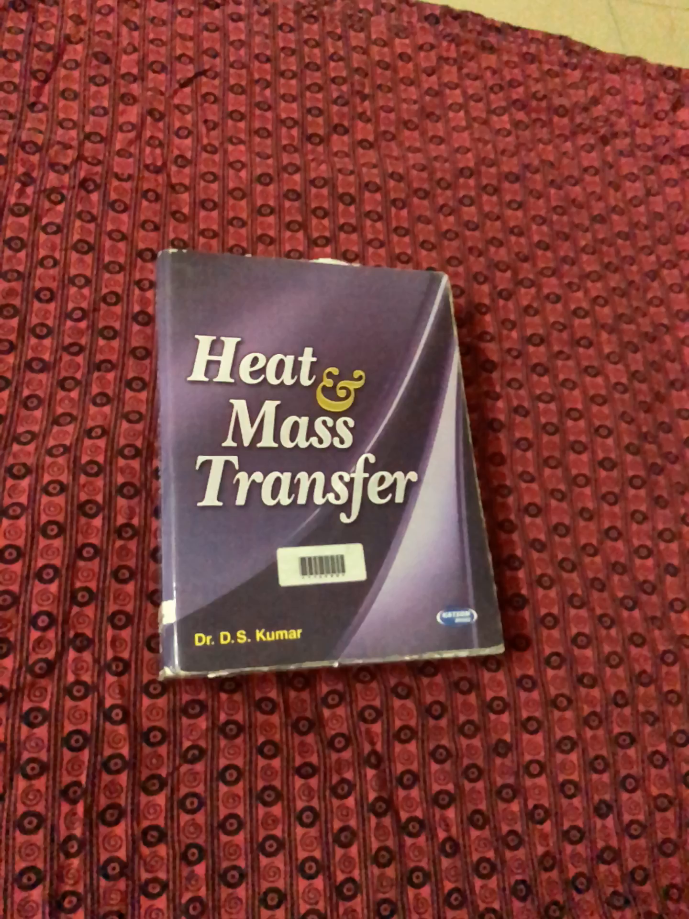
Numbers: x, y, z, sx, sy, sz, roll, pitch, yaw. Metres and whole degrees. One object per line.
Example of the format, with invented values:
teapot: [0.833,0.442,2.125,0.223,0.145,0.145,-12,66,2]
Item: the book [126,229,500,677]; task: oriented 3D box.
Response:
book: [-0.022,-0.007,0.390,0.170,0.040,0.211,0,72,-16]
